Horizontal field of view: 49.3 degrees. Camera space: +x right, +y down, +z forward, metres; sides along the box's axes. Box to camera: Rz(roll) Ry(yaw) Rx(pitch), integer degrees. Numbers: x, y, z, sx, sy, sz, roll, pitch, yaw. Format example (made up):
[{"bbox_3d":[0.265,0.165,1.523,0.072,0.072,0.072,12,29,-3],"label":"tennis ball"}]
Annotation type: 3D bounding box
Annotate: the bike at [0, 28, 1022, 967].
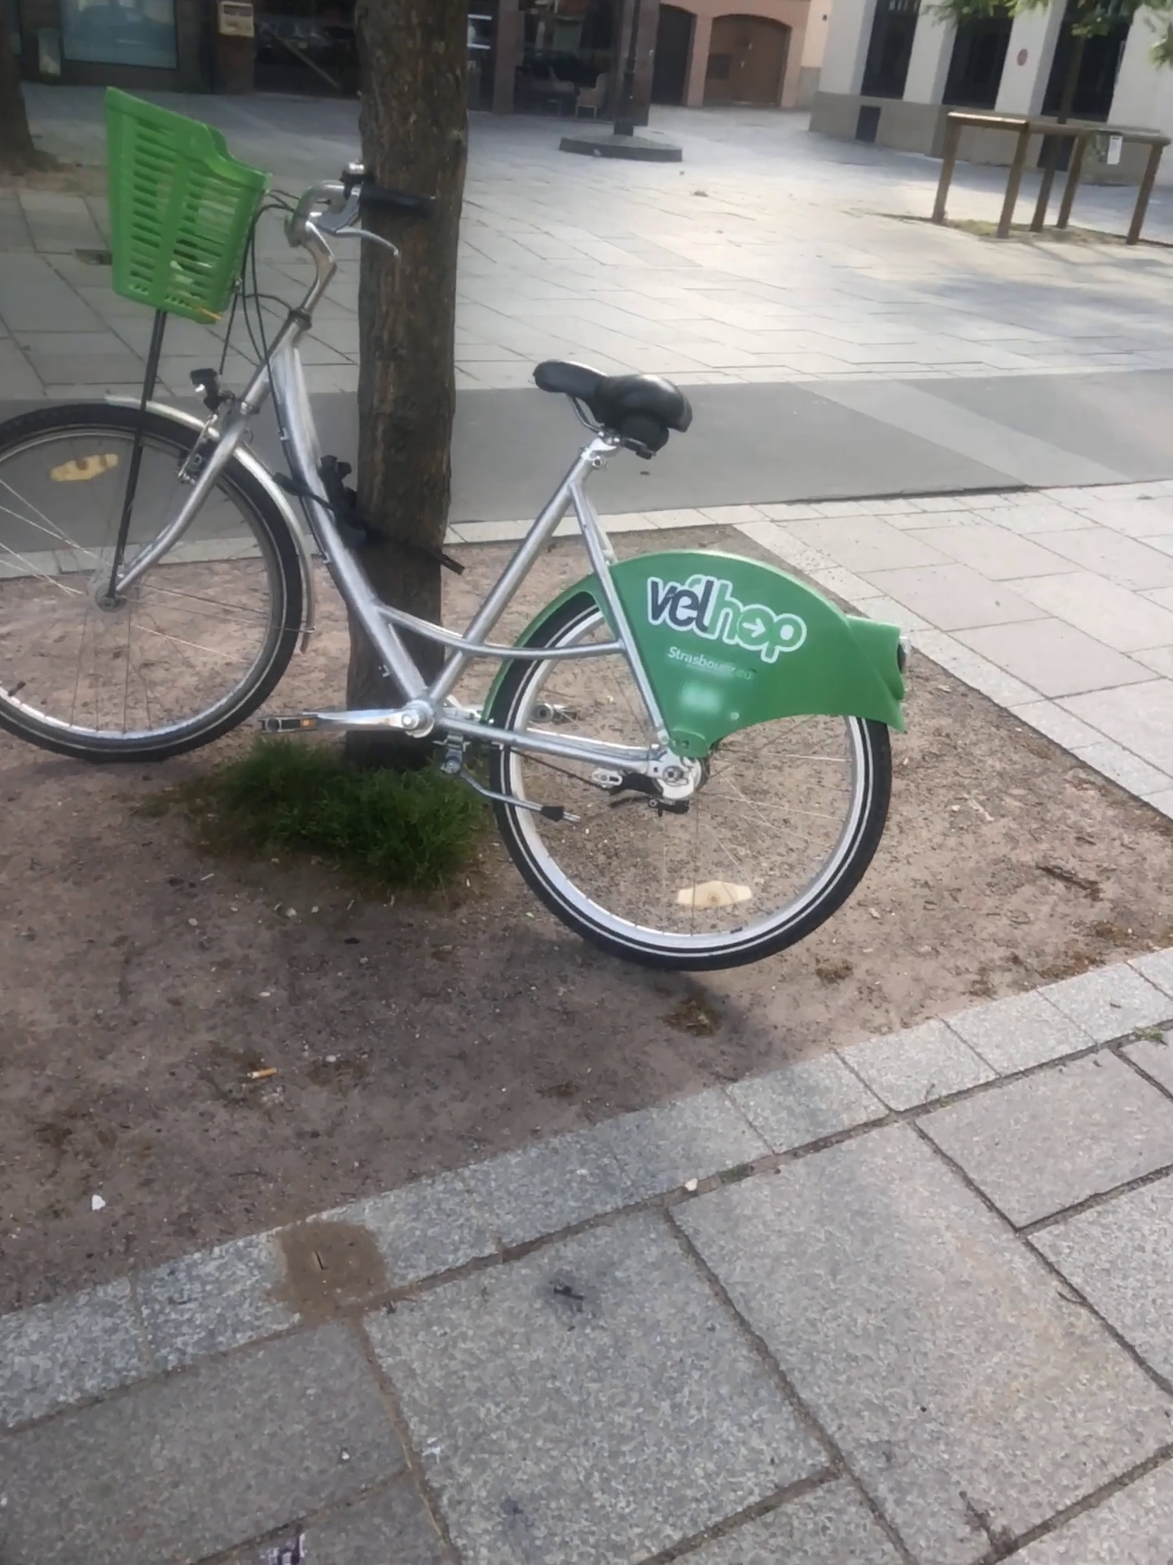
[{"bbox_3d":[-0.270,-0.441,2.154,1.719,1.114,0.313,13,30,5],"label":"bike"}]
